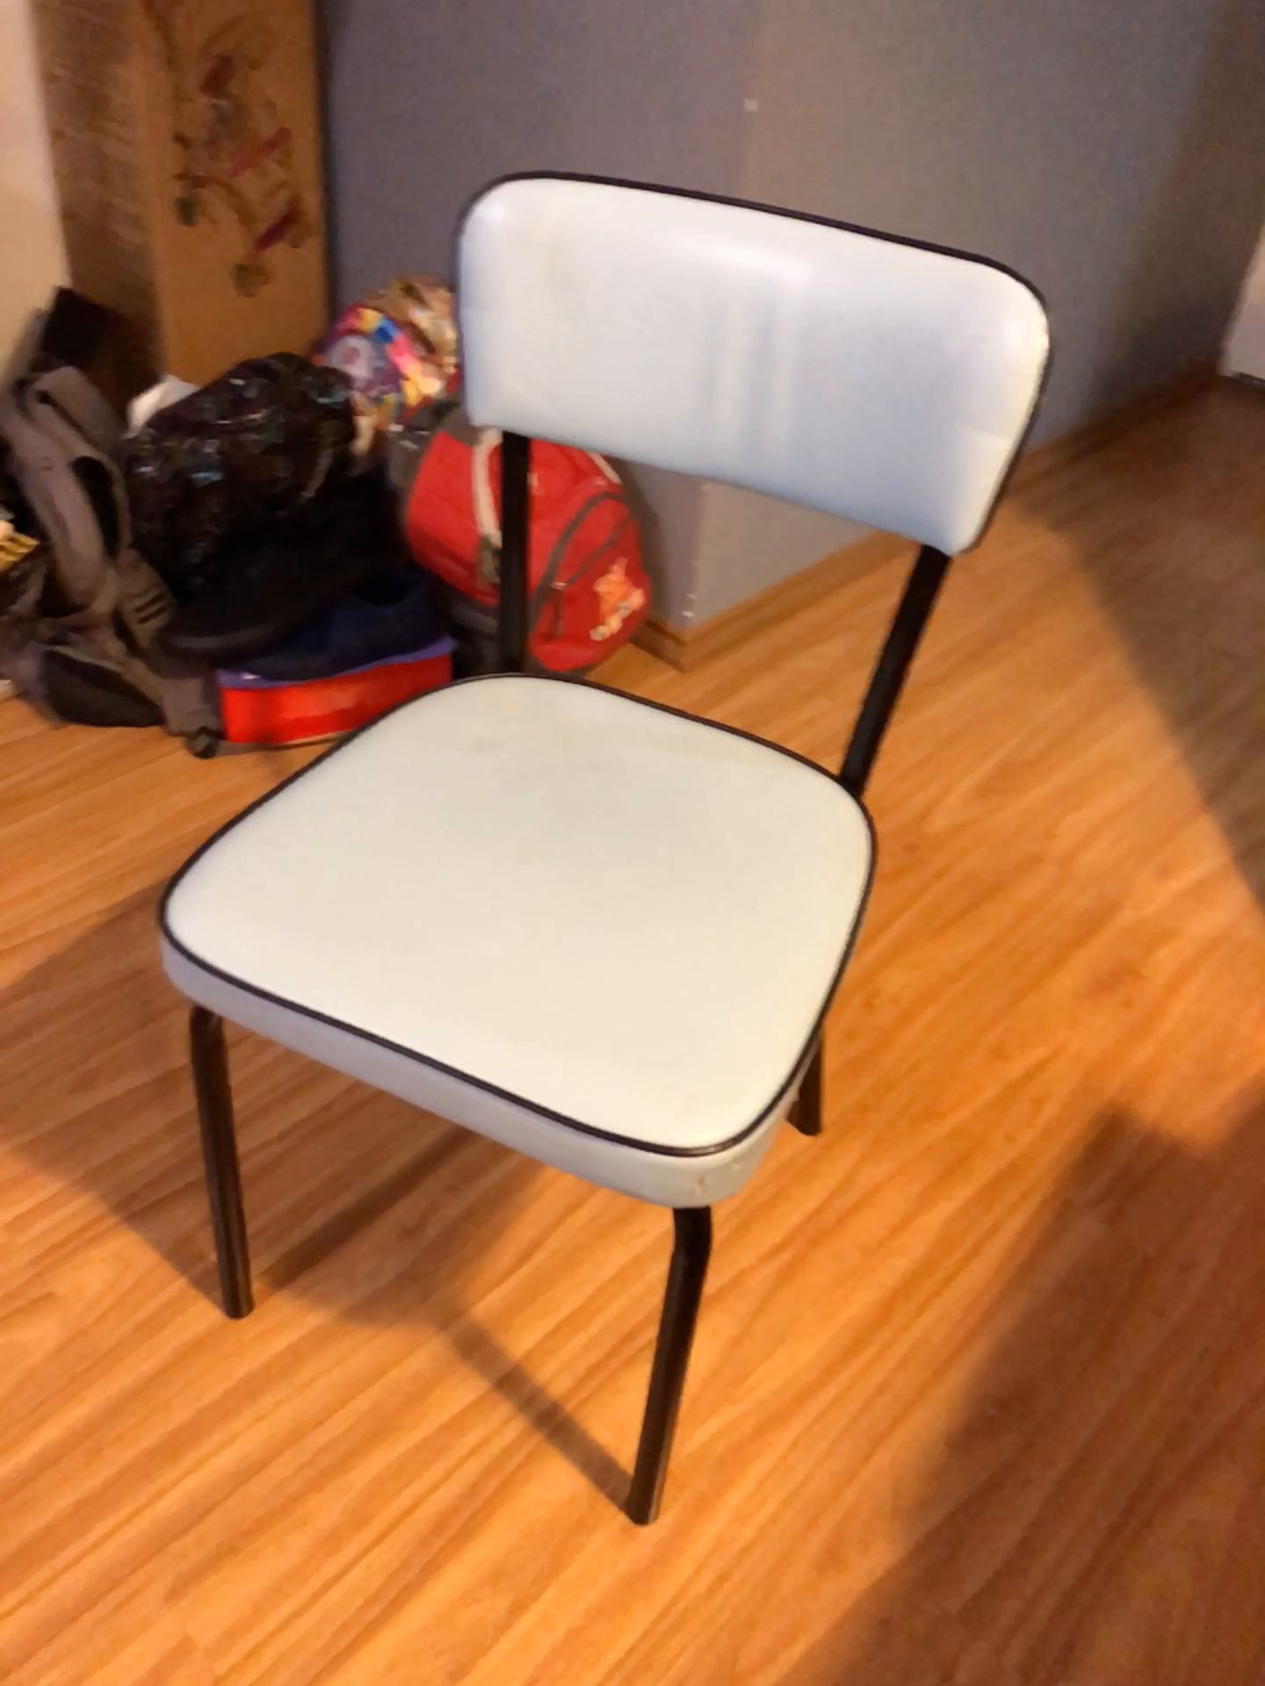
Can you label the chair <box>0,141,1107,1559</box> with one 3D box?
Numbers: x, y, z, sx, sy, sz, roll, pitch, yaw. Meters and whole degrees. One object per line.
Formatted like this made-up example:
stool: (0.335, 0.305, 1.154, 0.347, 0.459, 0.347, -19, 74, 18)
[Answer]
chair: (-0.039, 0.012, 1.005, 0.450, 0.794, 0.503, 20, 42, 16)
